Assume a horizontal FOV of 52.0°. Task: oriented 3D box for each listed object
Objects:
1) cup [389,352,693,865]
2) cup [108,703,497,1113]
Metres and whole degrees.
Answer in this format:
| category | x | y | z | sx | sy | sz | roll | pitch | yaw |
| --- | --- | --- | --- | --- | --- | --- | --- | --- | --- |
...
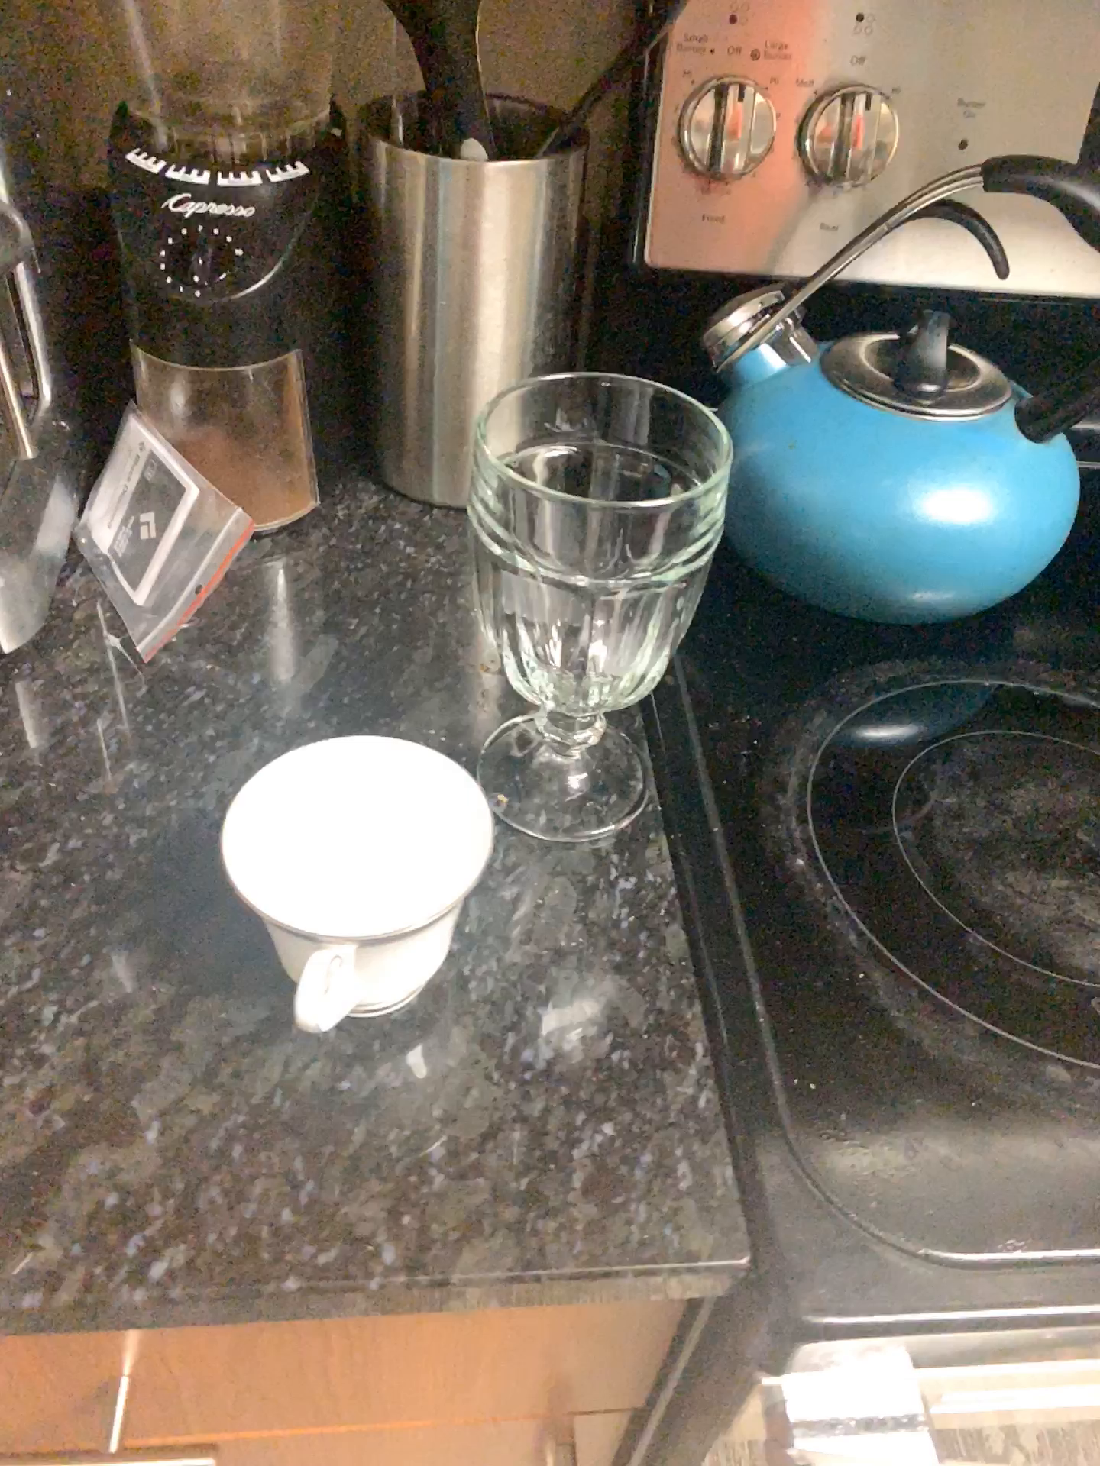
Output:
| category | x | y | z | sx | sy | sz | roll | pitch | yaw |
| --- | --- | --- | --- | --- | --- | --- | --- | --- | --- |
| cup | -0.005 | -0.049 | 0.470 | 0.100 | 0.169 | 0.111 | 7 | 42 | 2 |
| cup | -0.077 | 0.058 | 0.395 | 0.100 | 0.070 | 0.111 | 7 | 42 | 2 |
